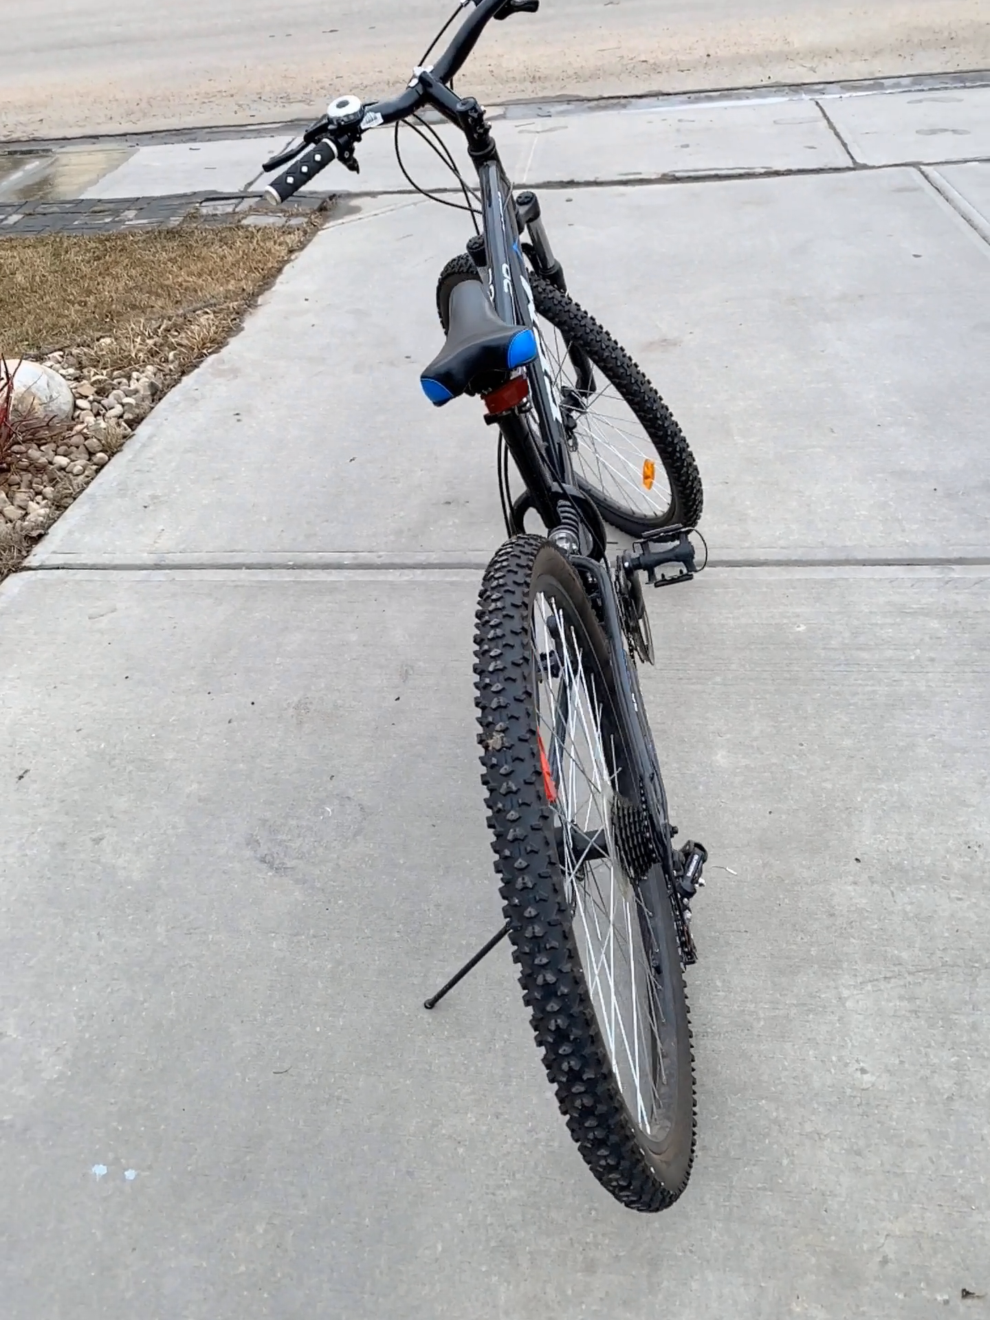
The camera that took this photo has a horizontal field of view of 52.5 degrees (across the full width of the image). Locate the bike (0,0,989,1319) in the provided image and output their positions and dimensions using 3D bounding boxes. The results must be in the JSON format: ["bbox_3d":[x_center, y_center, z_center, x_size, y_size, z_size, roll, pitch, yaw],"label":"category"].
[{"bbox_3d":[-0.074,-0.250,1.442,0.627,1.173,1.800,-8,41,-1],"label":"bike"}]
